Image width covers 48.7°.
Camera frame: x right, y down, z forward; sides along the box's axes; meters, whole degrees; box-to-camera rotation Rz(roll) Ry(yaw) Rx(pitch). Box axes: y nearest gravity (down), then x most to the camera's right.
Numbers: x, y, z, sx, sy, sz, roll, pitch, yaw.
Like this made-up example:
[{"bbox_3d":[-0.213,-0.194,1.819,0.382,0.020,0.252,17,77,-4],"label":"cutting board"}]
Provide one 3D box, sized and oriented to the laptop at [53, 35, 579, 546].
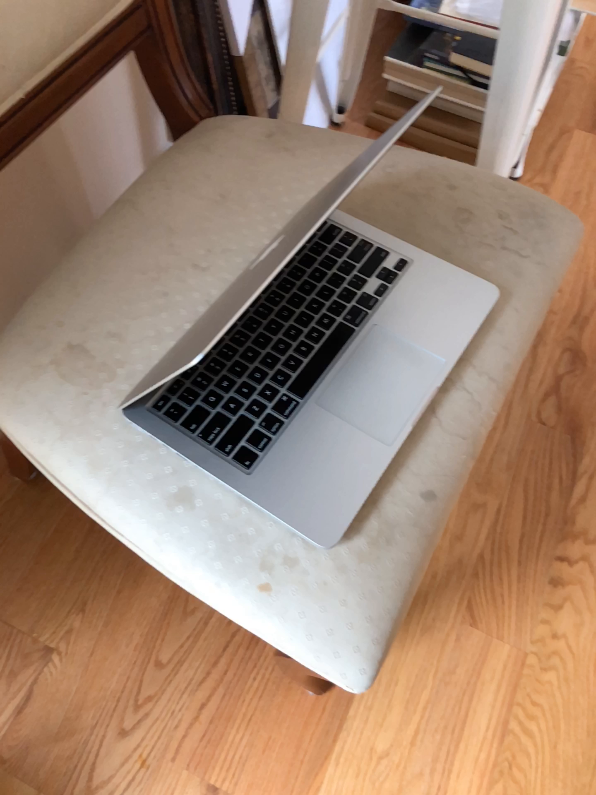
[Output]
[{"bbox_3d":[0.023,-0.091,0.523,0.218,0.183,0.309,30,64,16],"label":"laptop"}]
